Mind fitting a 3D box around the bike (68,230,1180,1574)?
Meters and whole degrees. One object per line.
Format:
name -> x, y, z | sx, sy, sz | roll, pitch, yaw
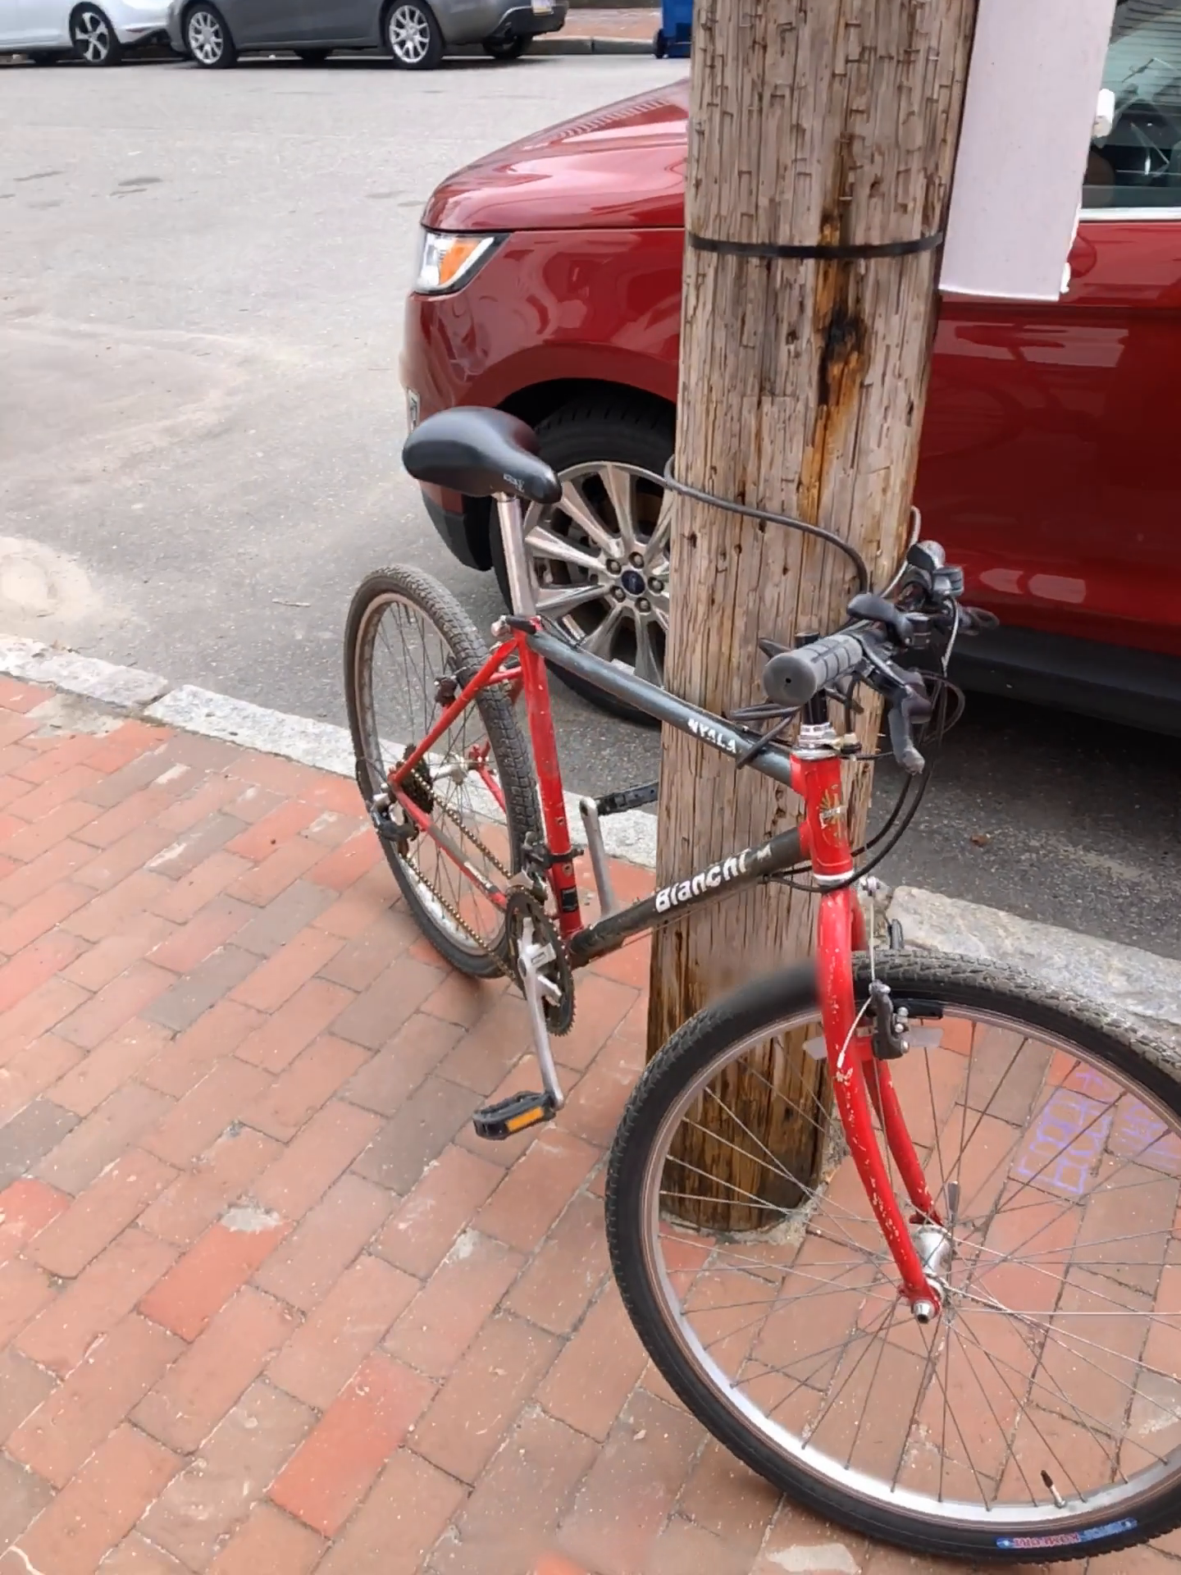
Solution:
bike -> 0.077, -0.029, 1.494 | 0.581, 0.983, 1.531 | -25, 38, -30
